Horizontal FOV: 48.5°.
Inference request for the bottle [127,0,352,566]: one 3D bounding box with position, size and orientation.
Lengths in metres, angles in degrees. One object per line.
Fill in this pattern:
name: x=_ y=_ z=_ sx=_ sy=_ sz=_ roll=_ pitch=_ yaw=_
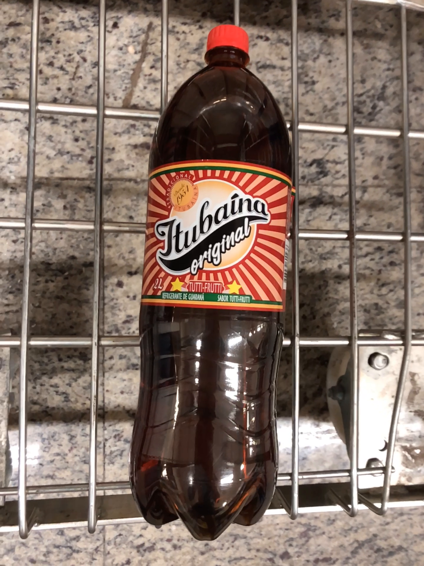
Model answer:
bottle: x=0.013 y=-0.003 z=0.299 sx=0.110 sy=0.070 sz=0.320 roll=3 pitch=90 yaw=-8
